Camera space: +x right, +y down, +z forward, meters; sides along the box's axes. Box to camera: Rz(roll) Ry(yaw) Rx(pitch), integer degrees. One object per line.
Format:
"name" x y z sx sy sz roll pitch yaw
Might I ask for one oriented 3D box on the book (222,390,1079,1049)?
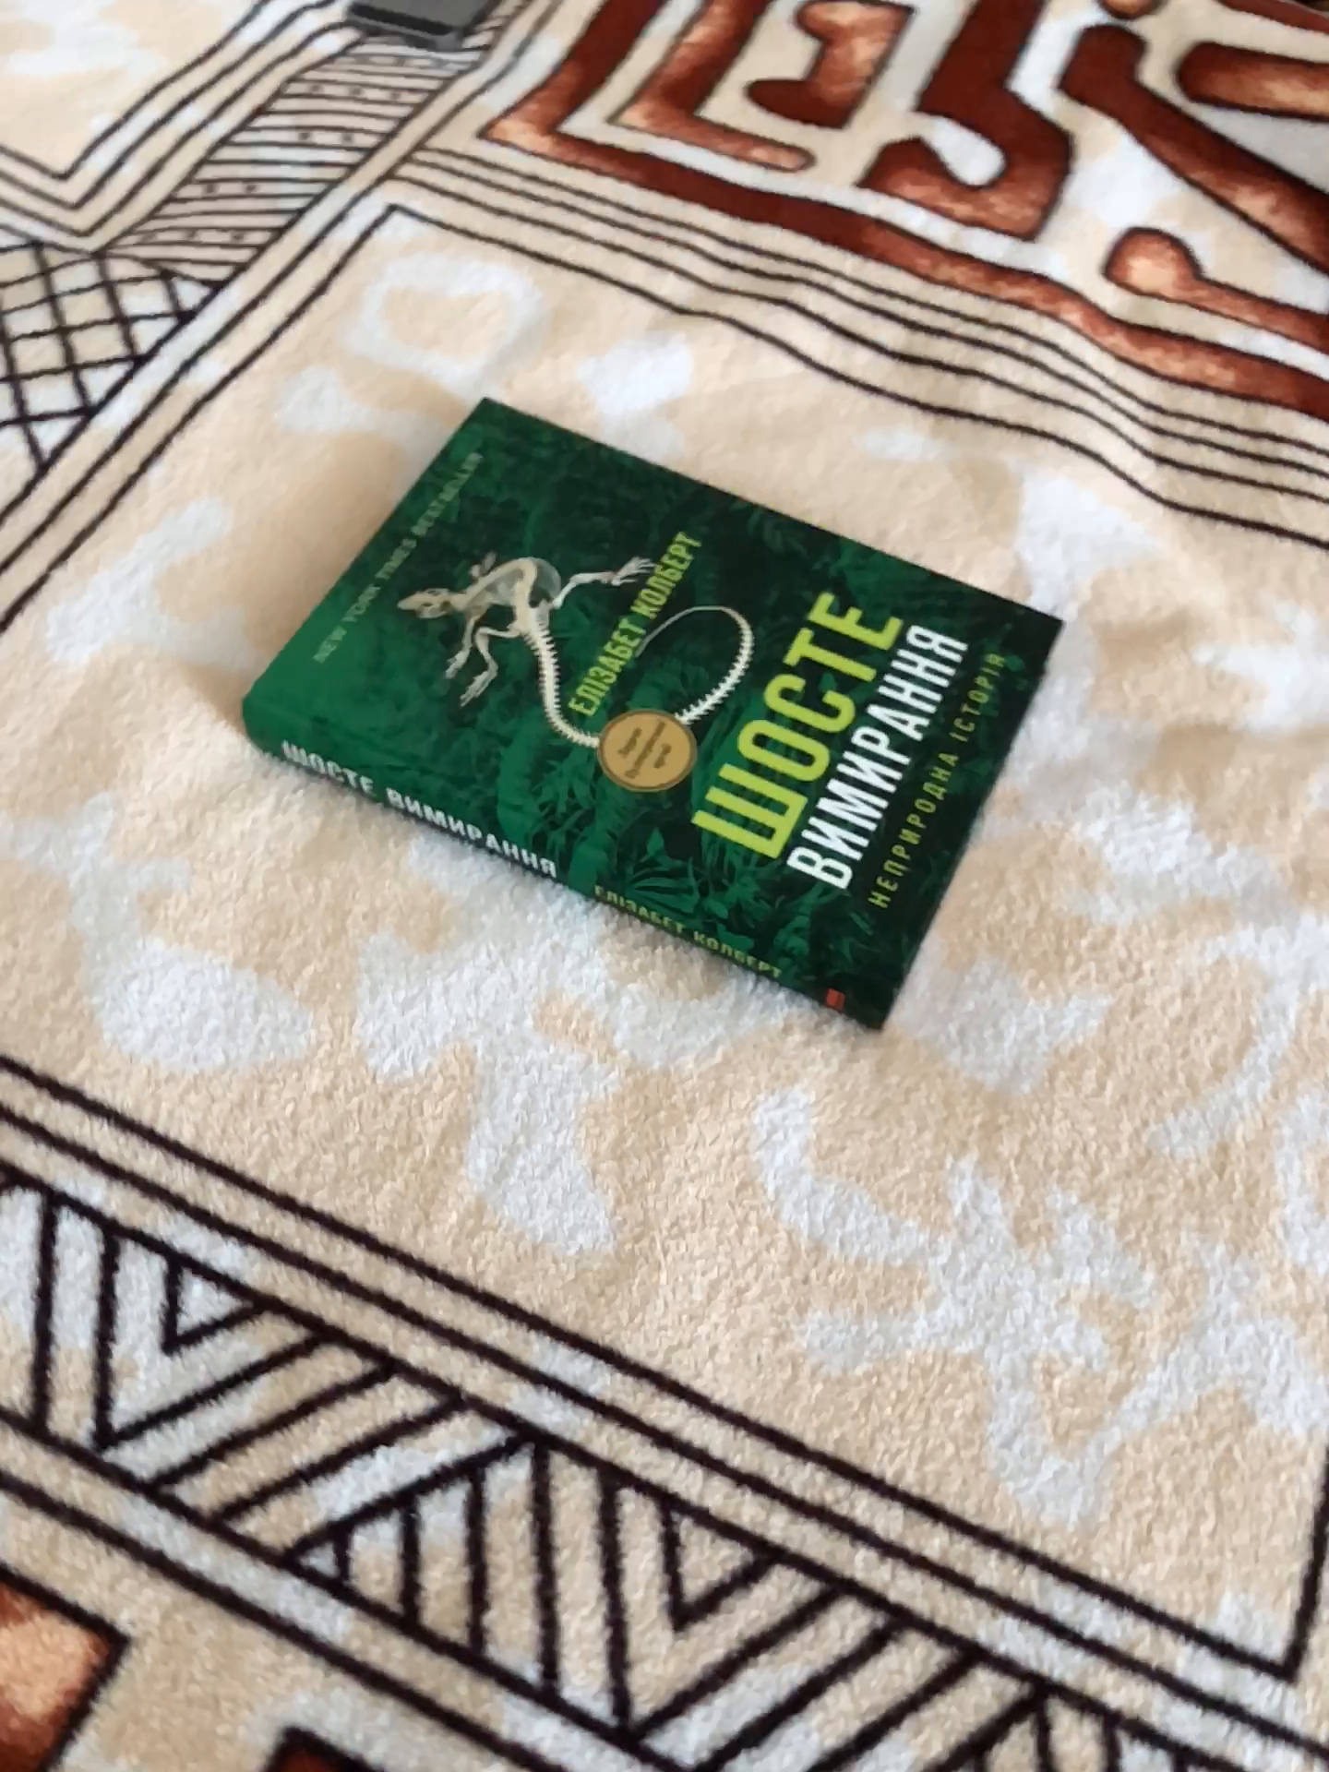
"book" -0.002 -0.063 0.464 0.220 0.030 0.150 24 63 12
